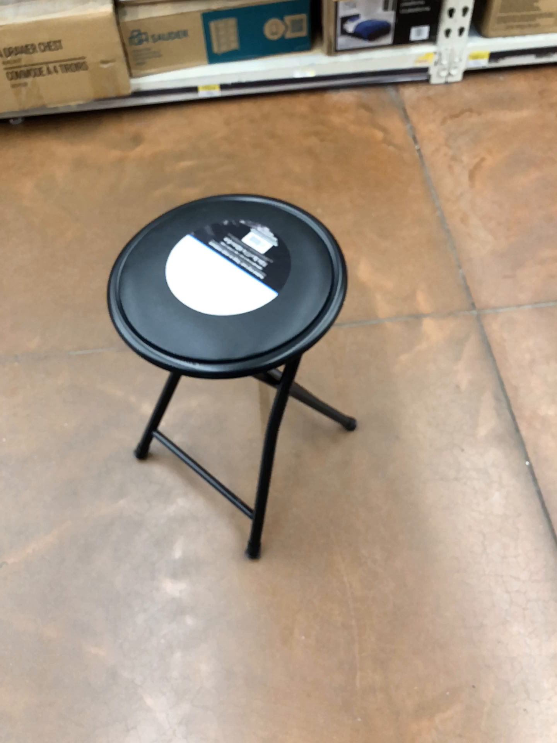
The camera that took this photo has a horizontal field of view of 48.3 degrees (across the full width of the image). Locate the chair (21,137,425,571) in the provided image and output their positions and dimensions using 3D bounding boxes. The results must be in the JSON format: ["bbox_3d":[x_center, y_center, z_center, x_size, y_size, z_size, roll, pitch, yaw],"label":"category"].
[{"bbox_3d":[-0.050,-0.013,0.866,0.320,0.399,0.330,33,63,23],"label":"chair"}]
